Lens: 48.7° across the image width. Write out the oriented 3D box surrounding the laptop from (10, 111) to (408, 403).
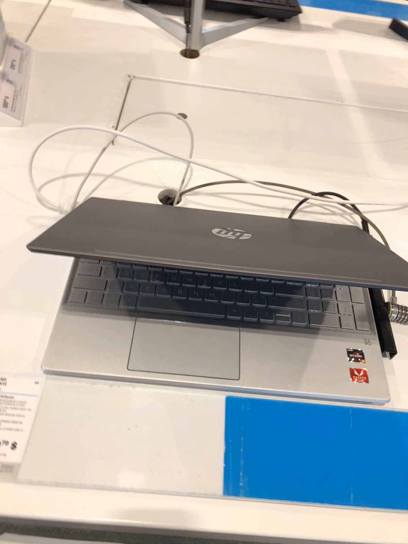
[{"bbox_3d":[0.031,-0.019,0.462,0.350,0.134,0.231,6,53,-2],"label":"laptop"}]
